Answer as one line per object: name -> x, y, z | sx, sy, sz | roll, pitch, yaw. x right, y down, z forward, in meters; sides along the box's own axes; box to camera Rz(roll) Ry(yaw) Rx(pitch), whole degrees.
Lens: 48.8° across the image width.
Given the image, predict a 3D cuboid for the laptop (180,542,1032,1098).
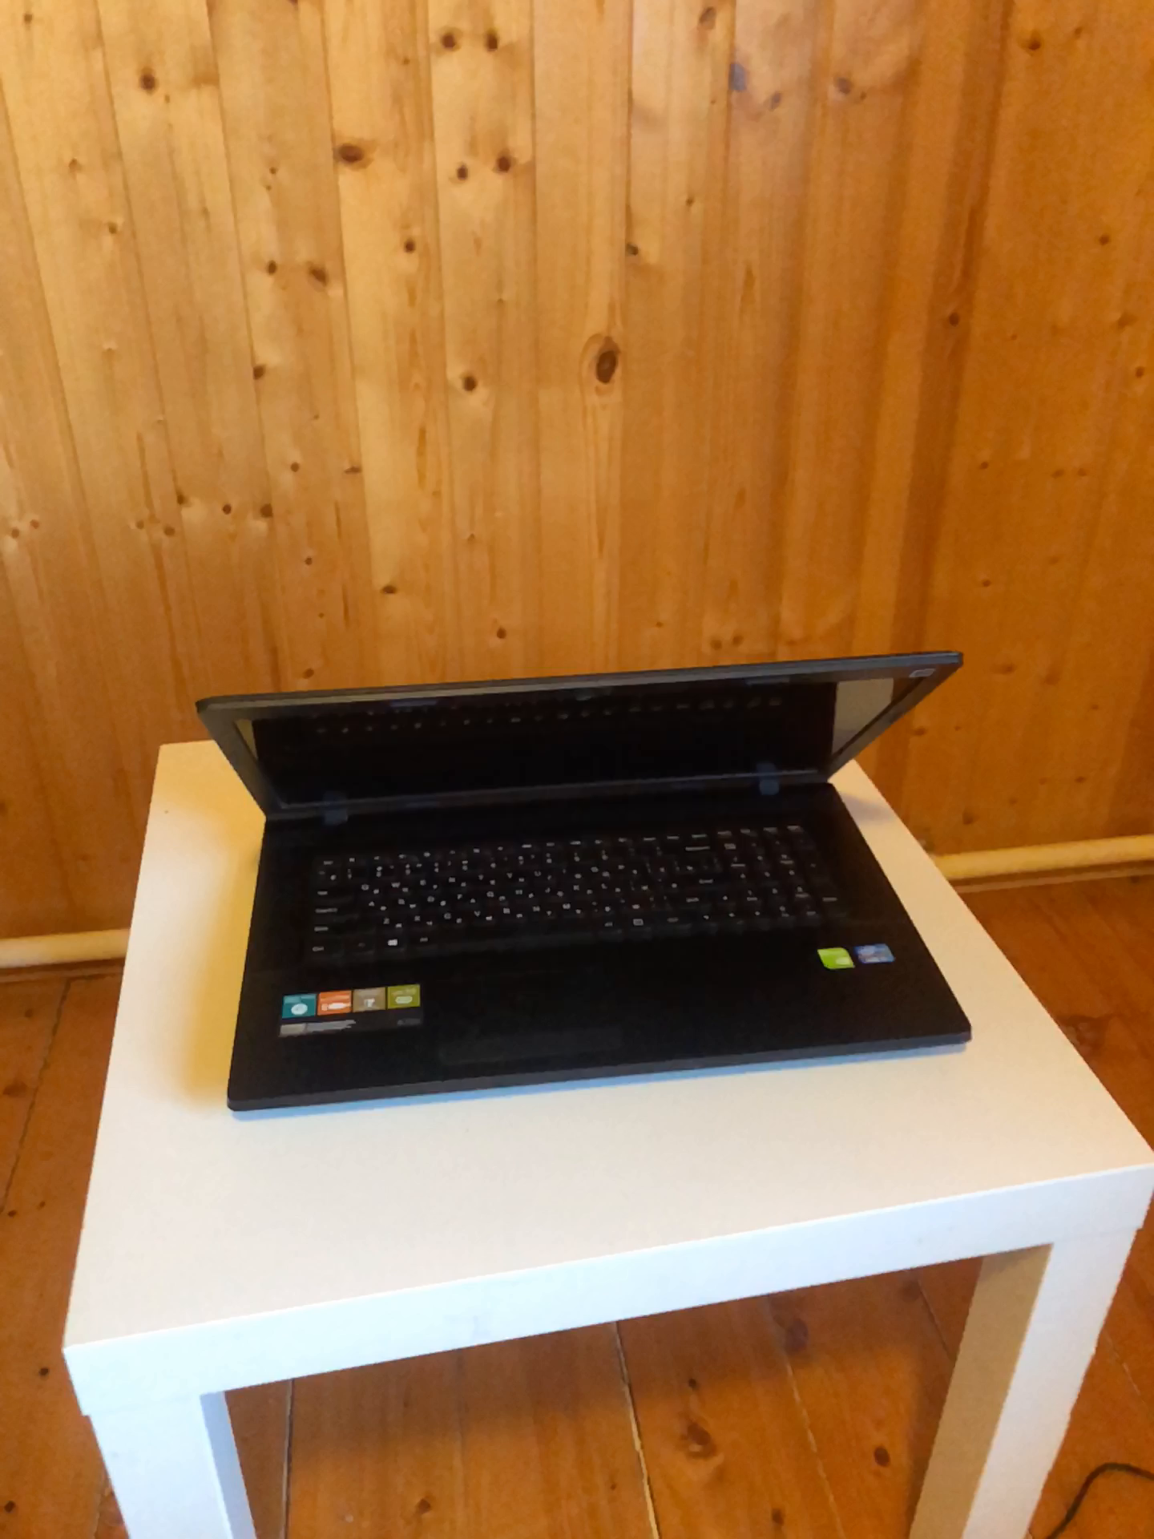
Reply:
laptop -> 0.008, 0.009, 0.738 | 0.401, 0.183, 0.252 | -3, 32, -9
